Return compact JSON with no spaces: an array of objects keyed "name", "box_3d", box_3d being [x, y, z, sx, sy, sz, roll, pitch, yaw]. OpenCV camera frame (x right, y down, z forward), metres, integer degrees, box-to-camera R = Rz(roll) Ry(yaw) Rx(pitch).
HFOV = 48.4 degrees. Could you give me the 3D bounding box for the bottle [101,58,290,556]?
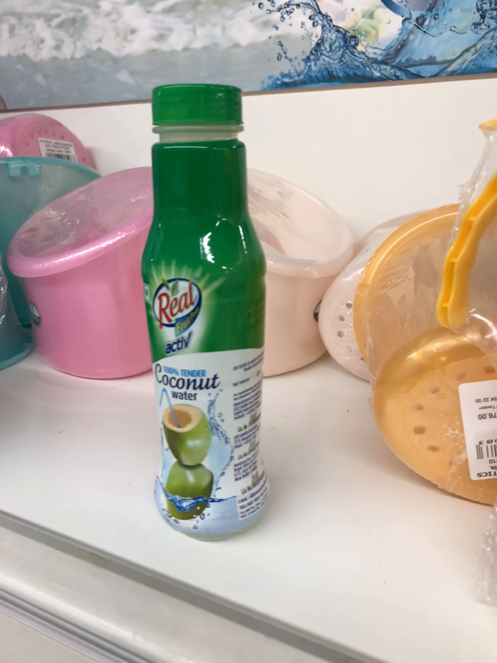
[{"name":"bottle","box_3d":[-0.014,-0.006,0.221,0.050,0.179,0.050,-1,19,0]}]
